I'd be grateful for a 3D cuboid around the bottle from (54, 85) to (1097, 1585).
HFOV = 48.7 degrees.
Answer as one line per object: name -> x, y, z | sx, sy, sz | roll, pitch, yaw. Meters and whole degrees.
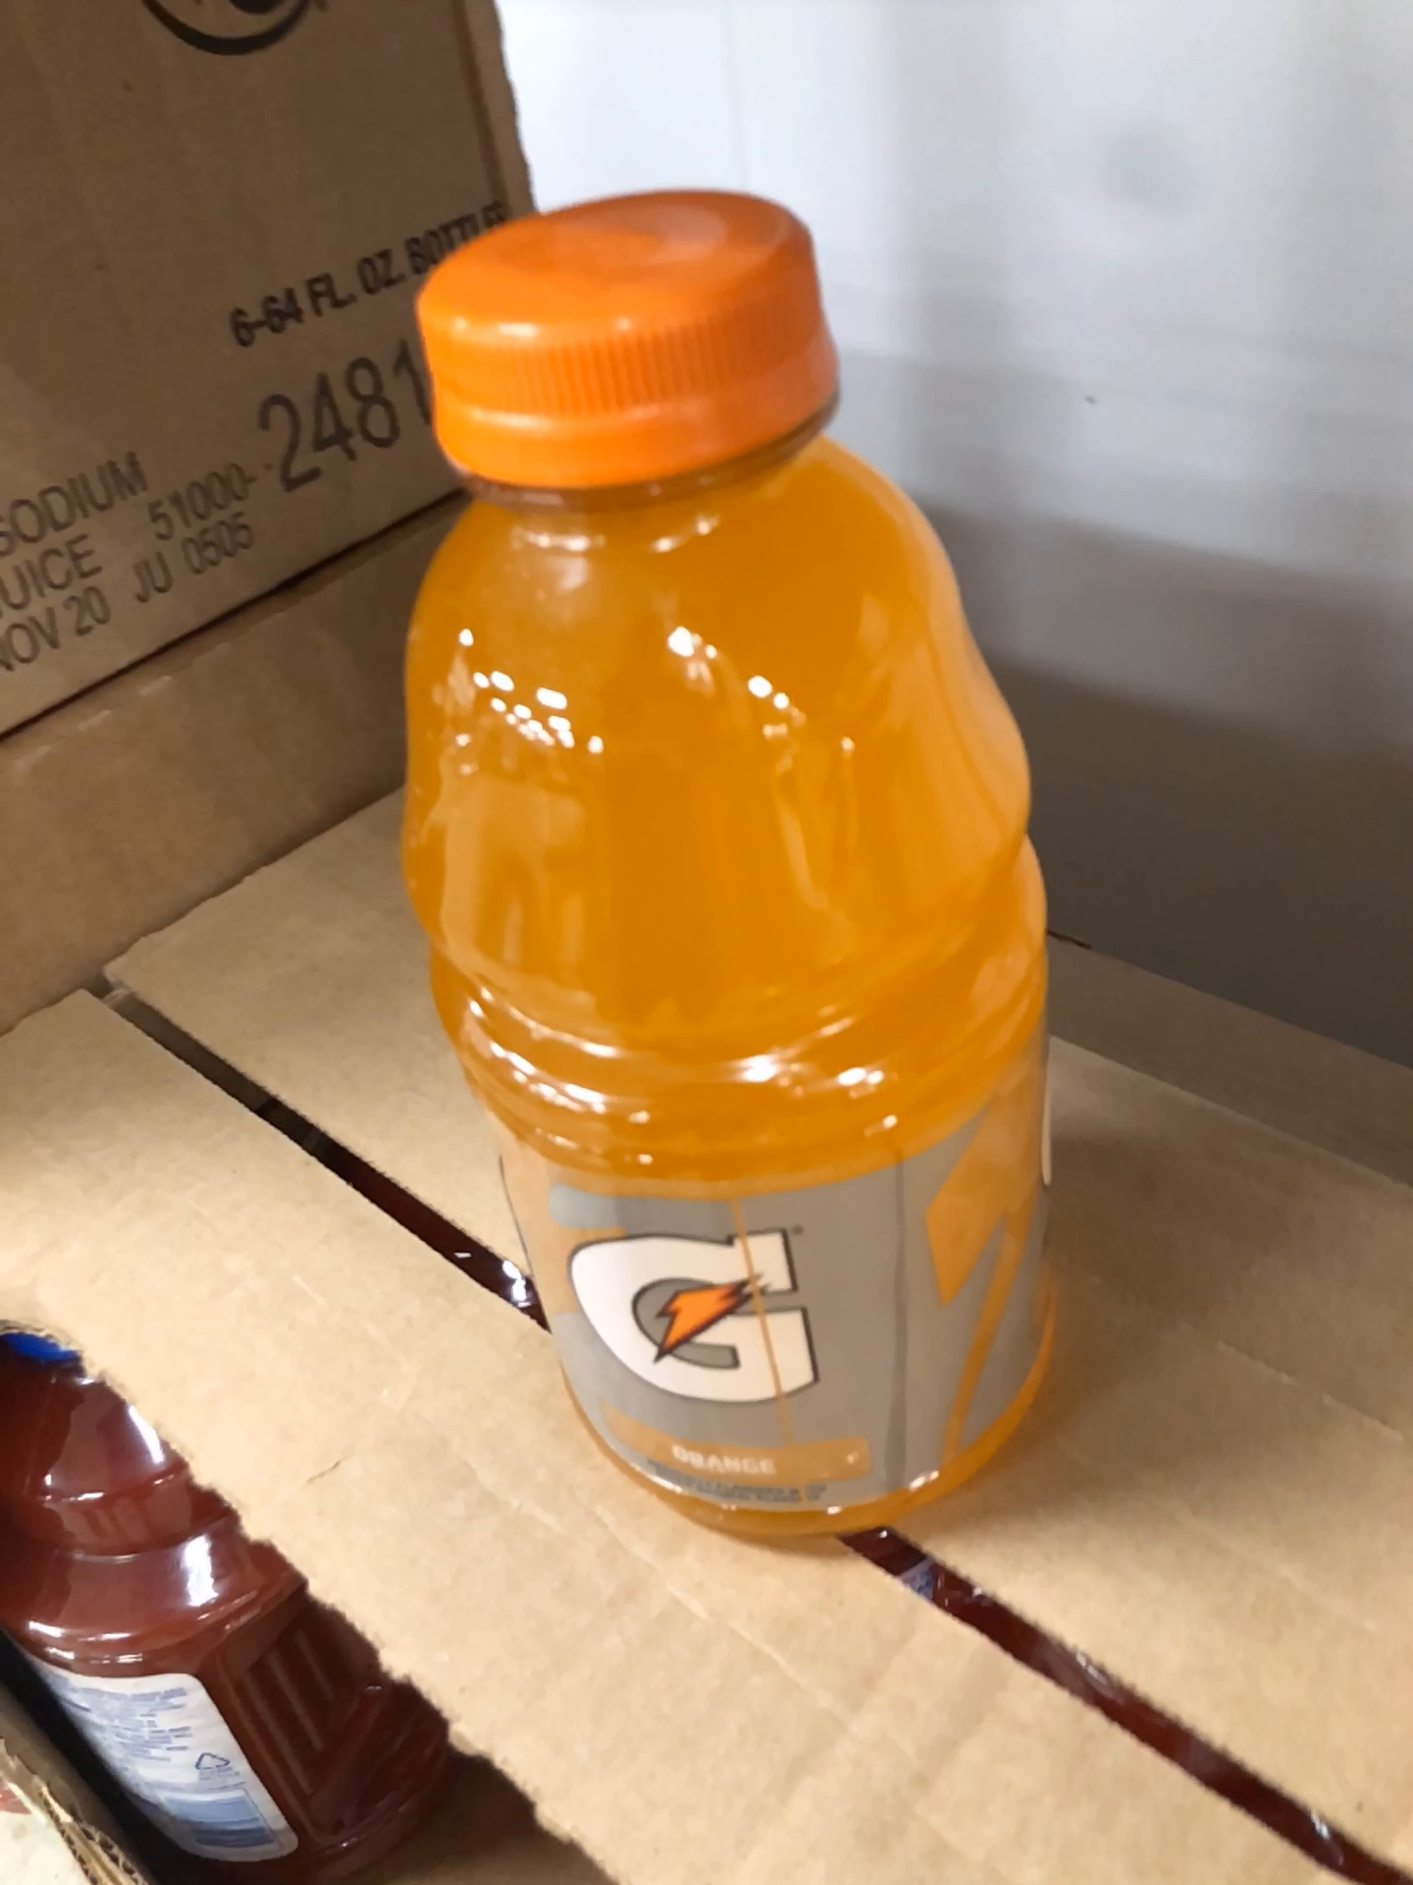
bottle -> 0.007, -0.008, 0.225 | 0.092, 0.180, 0.100 | -6, 37, 5
